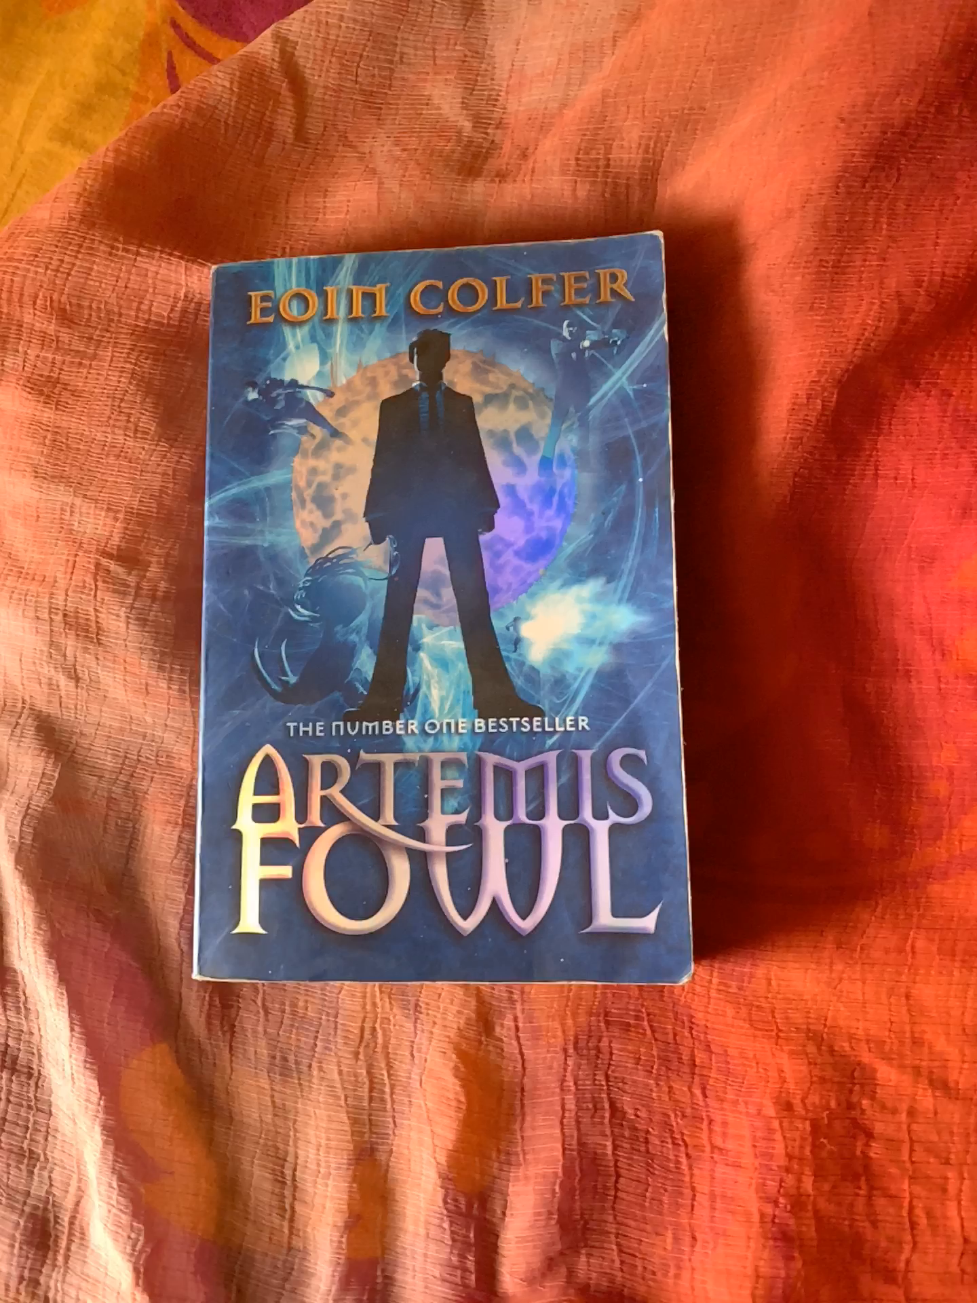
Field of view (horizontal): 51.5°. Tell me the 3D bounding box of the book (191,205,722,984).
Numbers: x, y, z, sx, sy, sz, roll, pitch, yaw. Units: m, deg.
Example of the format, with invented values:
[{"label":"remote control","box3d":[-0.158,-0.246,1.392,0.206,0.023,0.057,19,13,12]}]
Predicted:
[{"label":"book","box3d":[-0.009,-0.014,0.268,0.130,0.030,0.190,-1,85,8]}]
